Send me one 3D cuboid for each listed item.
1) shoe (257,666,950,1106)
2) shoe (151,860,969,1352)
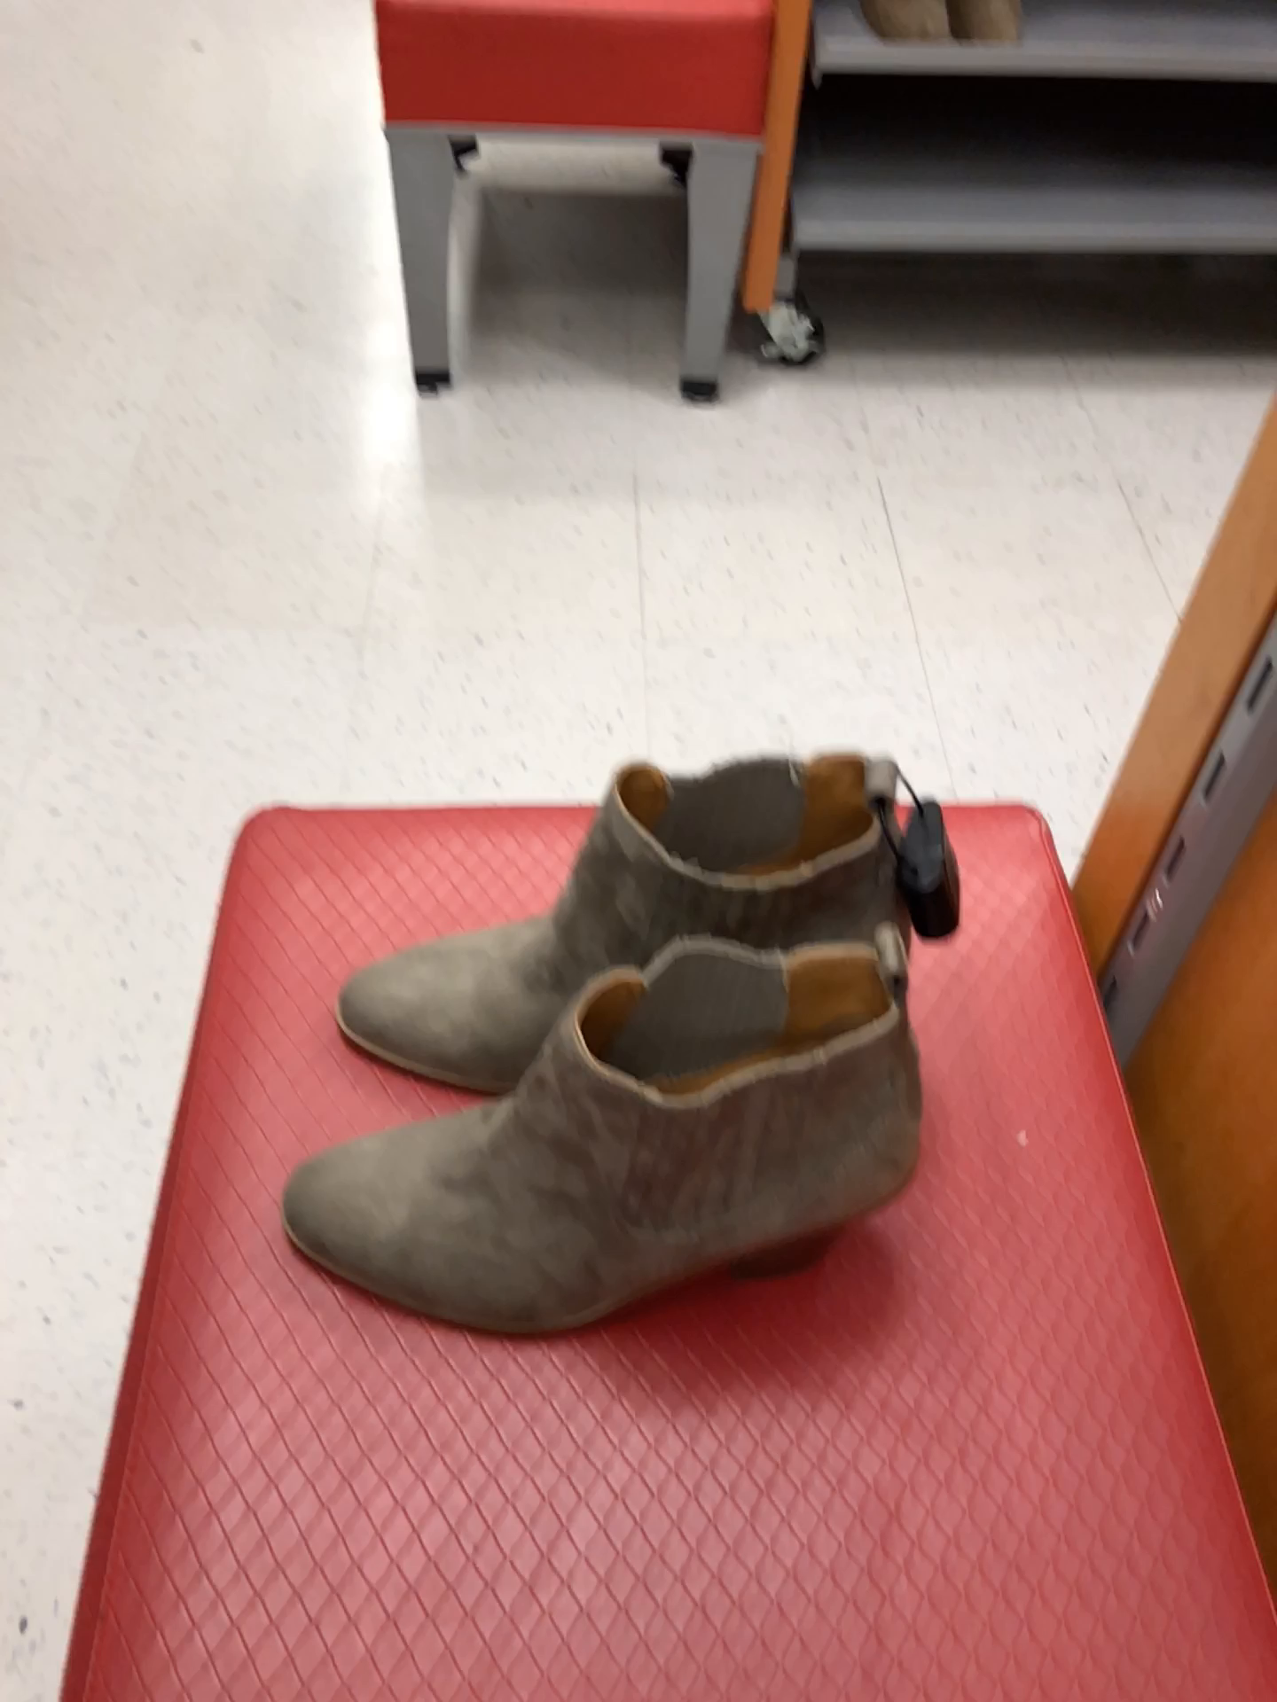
[{"bbox_3d":[-0.014,0.019,0.599,0.250,0.160,0.097,2,48,0],"label":"shoe"},{"bbox_3d":[-0.025,0.098,0.521,0.250,0.150,0.107,2,48,0],"label":"shoe"}]
